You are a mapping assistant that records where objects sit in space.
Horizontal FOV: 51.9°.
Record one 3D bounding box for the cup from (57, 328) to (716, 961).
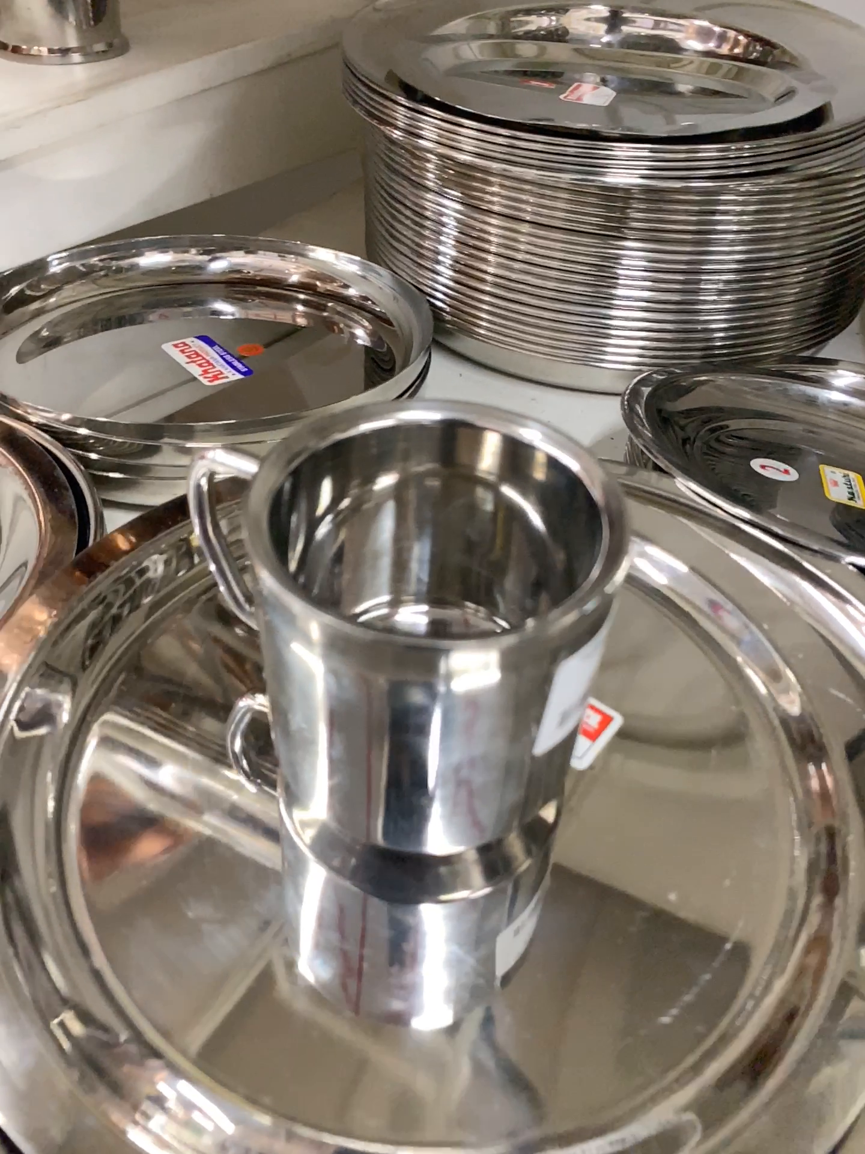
[{"bbox_3d":[-0.006,0.008,0.176,0.090,0.070,0.070,22,46,20],"label":"cup"}]
